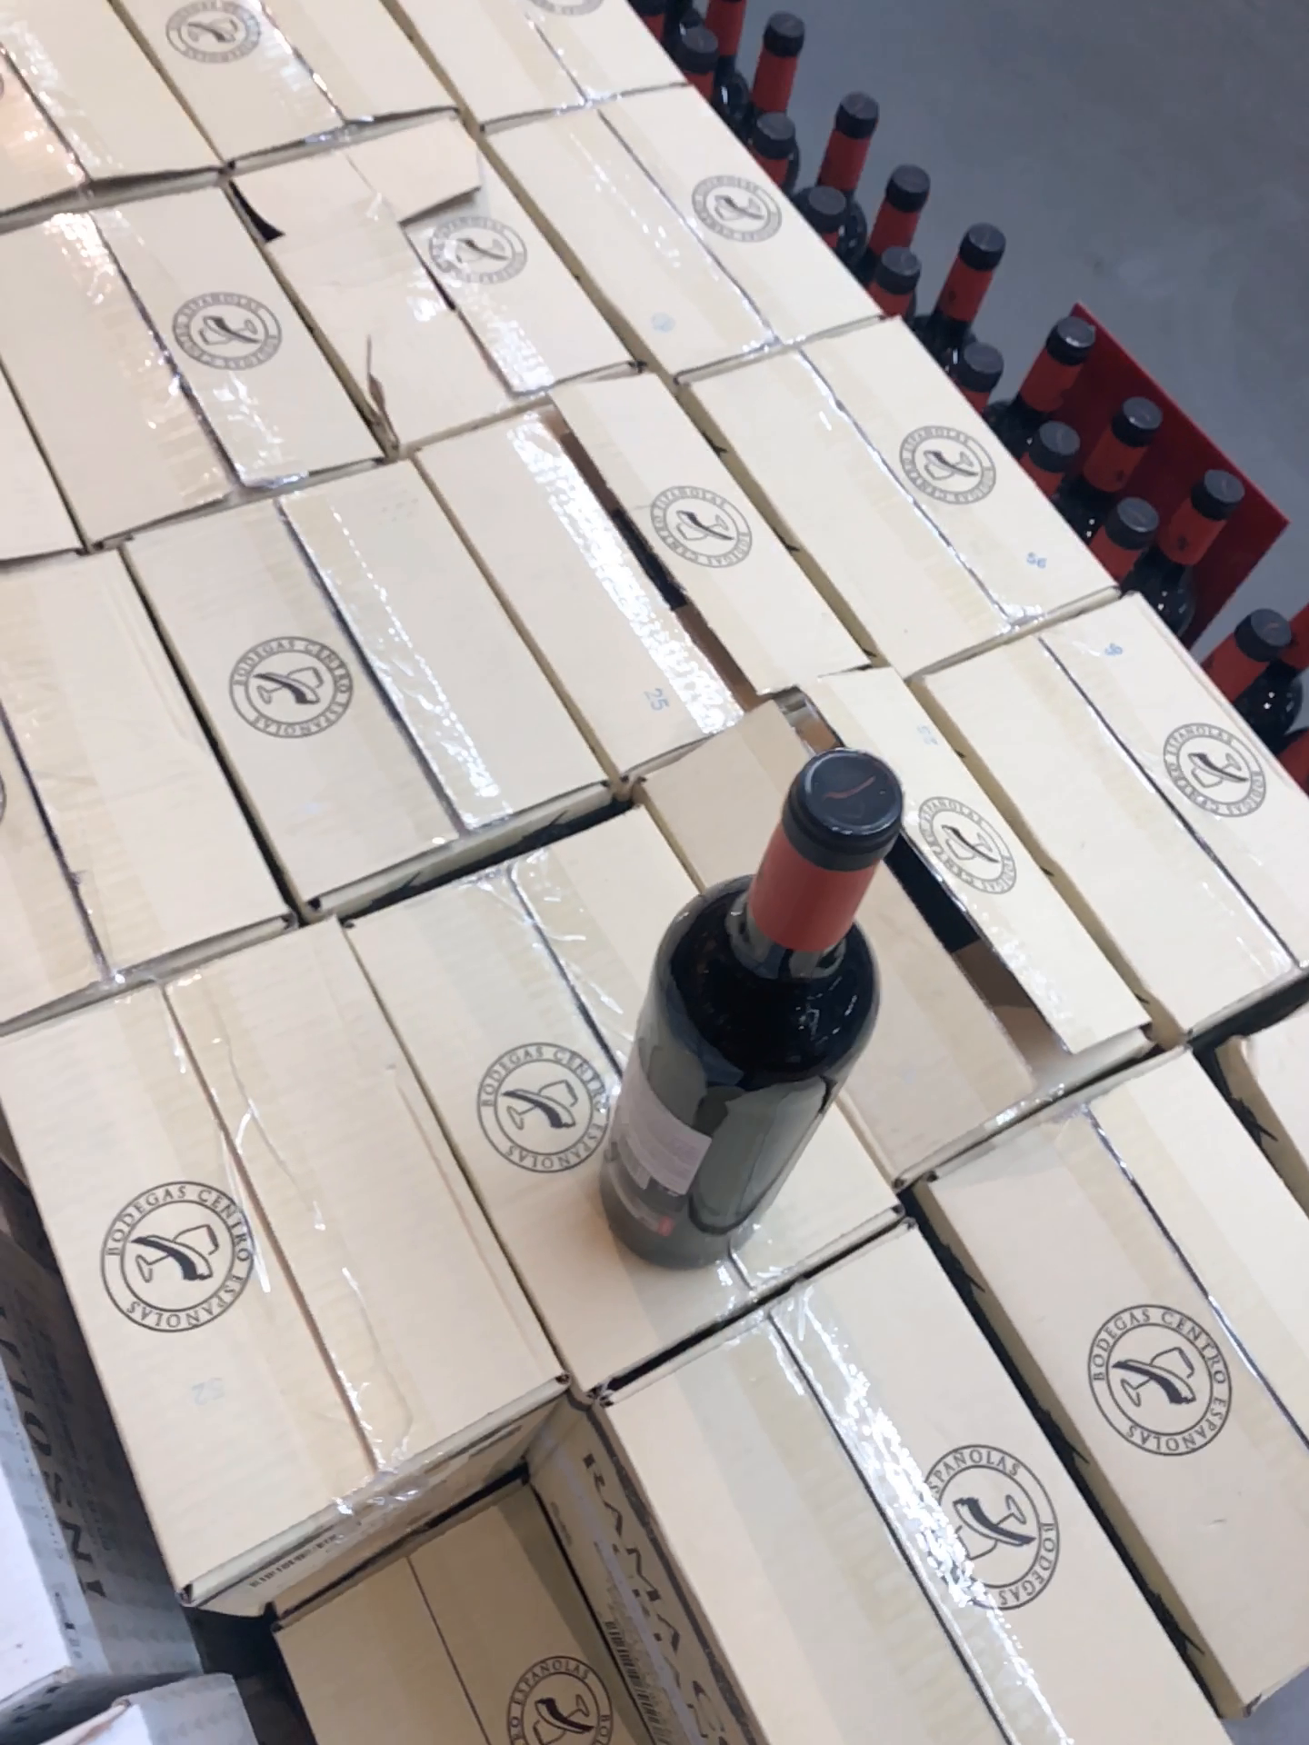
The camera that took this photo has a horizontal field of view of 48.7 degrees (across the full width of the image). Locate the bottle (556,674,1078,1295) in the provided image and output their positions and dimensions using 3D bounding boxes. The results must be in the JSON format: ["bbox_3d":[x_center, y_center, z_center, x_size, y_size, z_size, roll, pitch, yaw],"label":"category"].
[{"bbox_3d":[0.028,0.061,0.482,0.090,0.299,0.090,4,61,-8],"label":"bottle"}]
